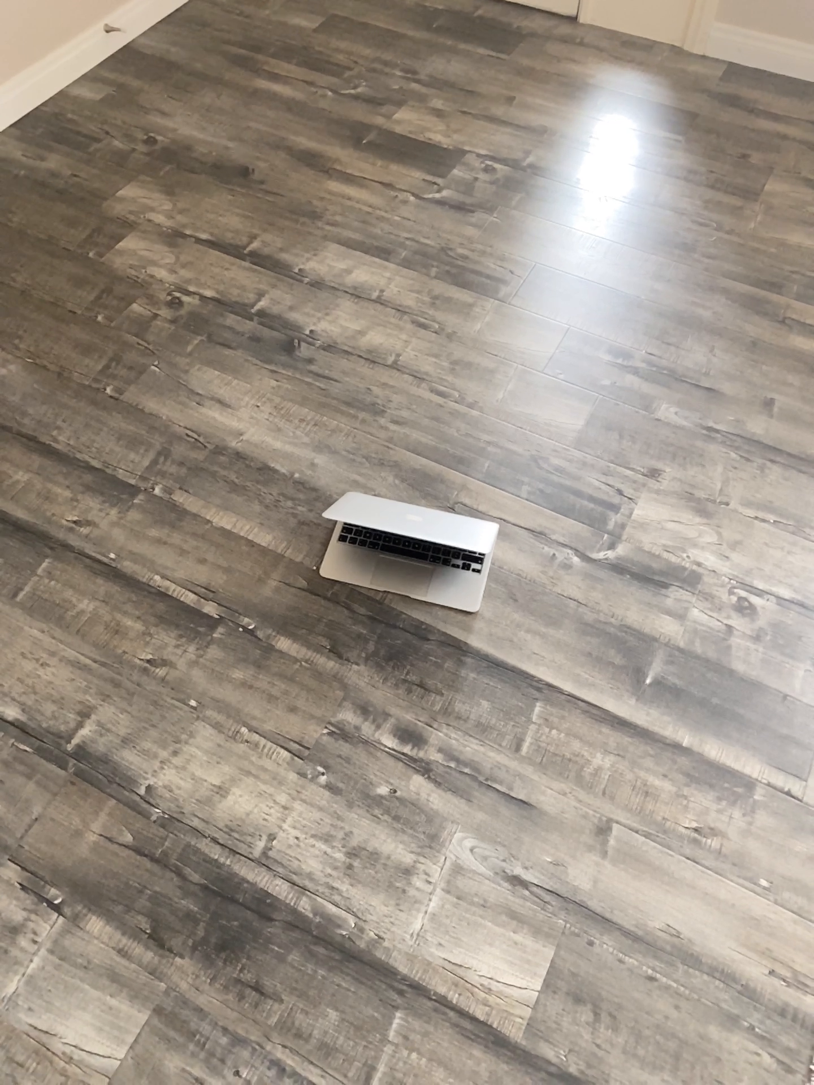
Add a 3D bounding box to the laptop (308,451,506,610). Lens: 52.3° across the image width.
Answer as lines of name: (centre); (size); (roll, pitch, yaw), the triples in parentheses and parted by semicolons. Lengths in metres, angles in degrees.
laptop: (0.004, -0.021, 1.340); (0.270, 0.113, 0.173); (13, 55, 7)
